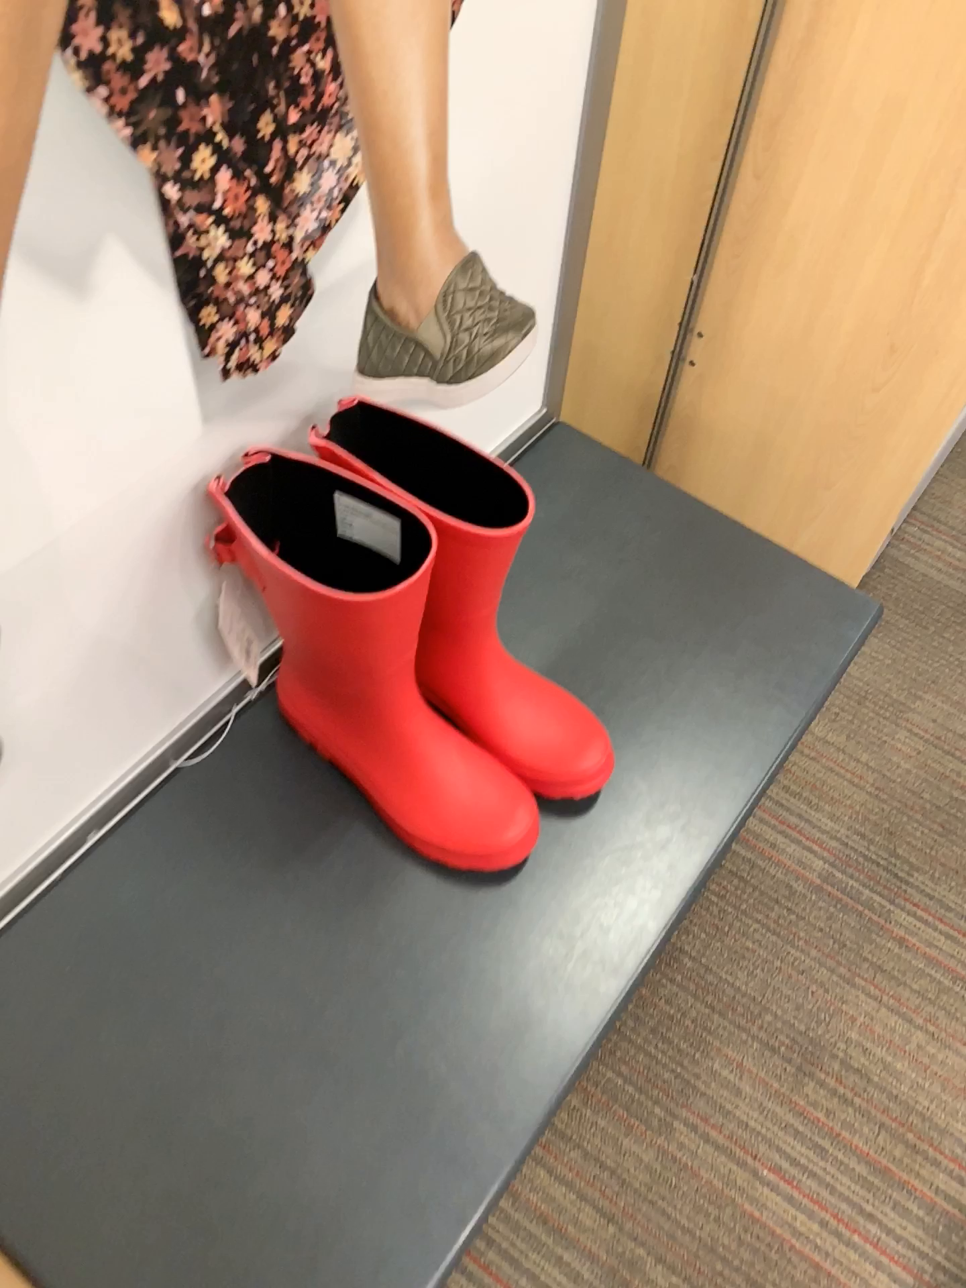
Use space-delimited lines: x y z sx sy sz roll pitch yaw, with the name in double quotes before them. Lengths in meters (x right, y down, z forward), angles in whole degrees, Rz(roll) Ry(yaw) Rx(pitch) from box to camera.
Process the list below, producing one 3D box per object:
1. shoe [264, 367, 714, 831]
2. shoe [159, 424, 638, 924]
"shoe" -0.006 -0.023 0.723 0.270 0.249 0.106 28 58 15
"shoe" -0.060 0.030 0.675 0.270 0.249 0.106 31 59 16
